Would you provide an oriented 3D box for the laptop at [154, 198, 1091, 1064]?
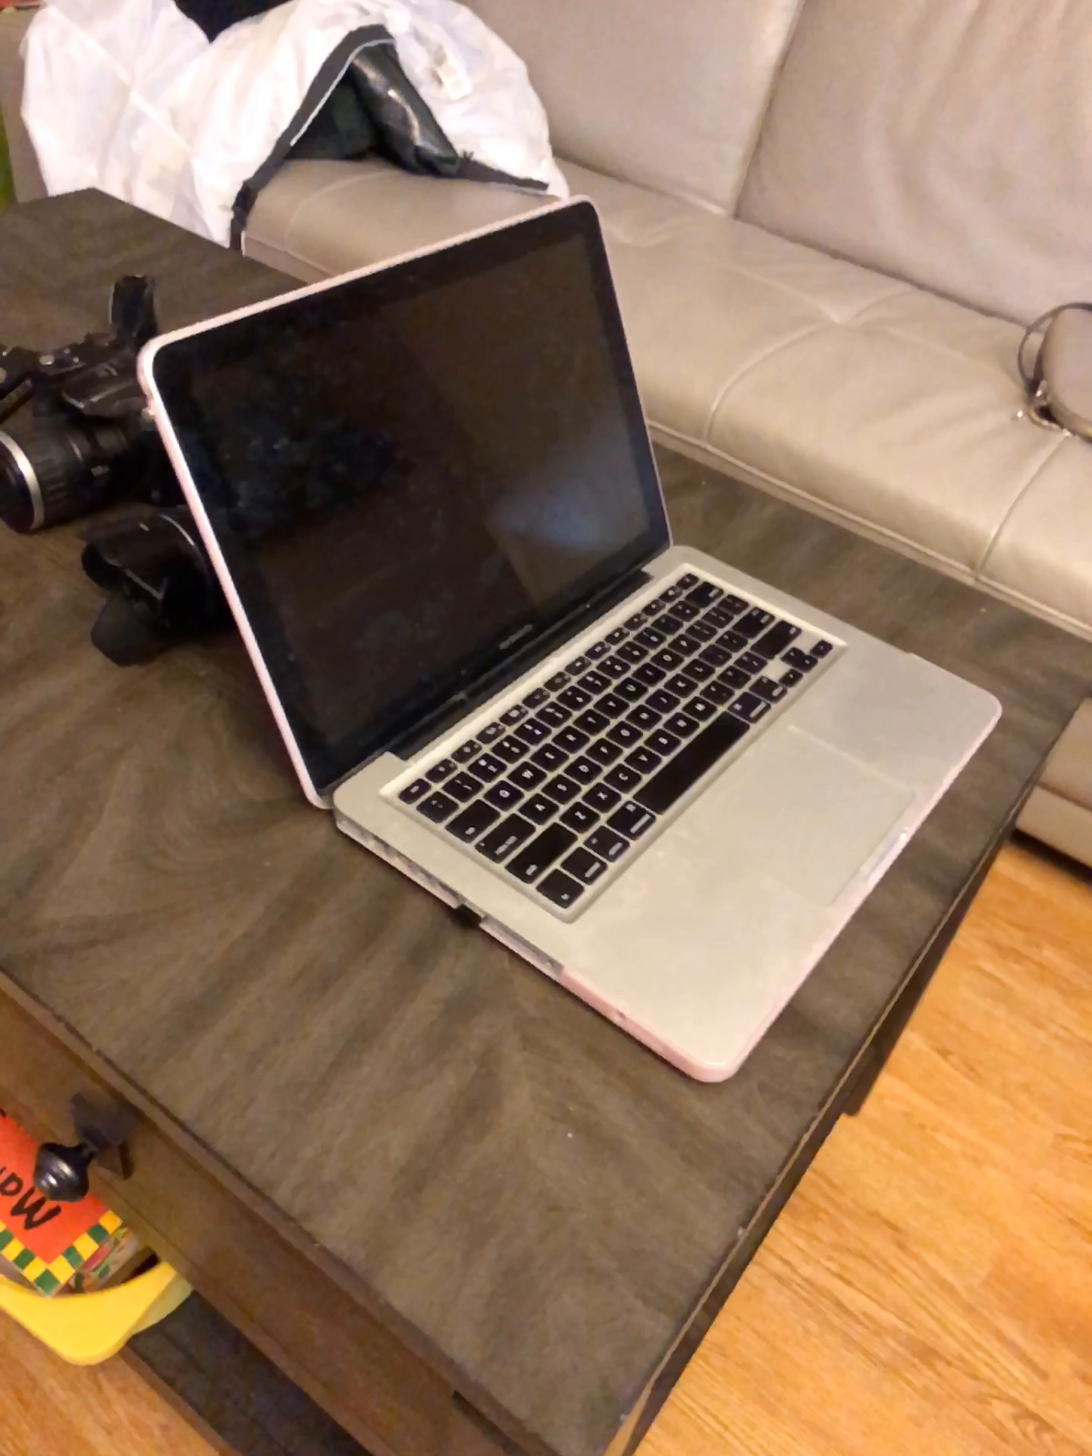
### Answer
[{"bbox_3d":[0.048,-0.084,0.590,0.322,0.185,0.313,31,46,23],"label":"laptop"}]
